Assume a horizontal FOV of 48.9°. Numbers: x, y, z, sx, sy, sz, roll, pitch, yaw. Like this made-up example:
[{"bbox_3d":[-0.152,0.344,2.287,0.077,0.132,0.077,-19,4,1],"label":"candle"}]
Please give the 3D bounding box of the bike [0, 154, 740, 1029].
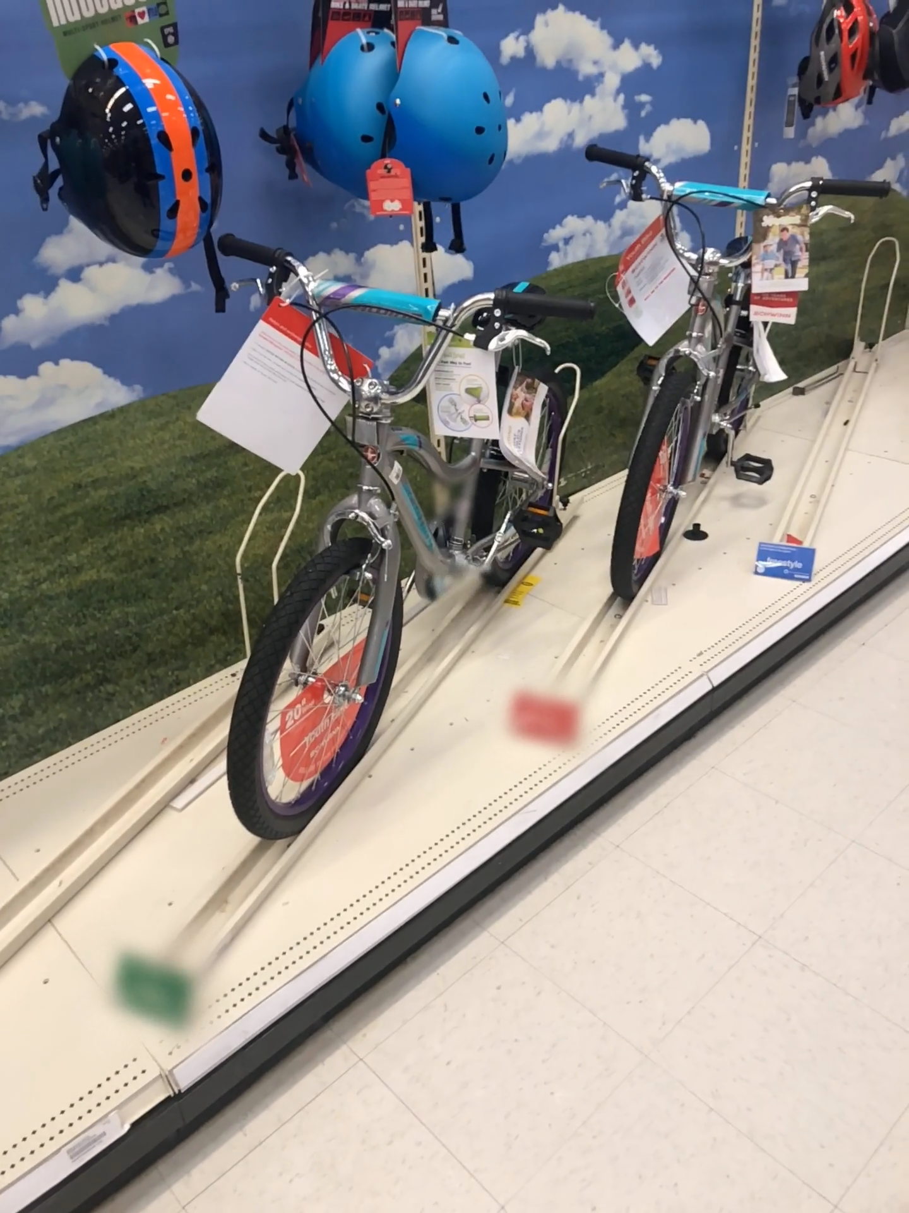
[{"bbox_3d":[0.020,-0.193,1.824,0.649,0.878,1.327,10,37,23],"label":"bike"}]
